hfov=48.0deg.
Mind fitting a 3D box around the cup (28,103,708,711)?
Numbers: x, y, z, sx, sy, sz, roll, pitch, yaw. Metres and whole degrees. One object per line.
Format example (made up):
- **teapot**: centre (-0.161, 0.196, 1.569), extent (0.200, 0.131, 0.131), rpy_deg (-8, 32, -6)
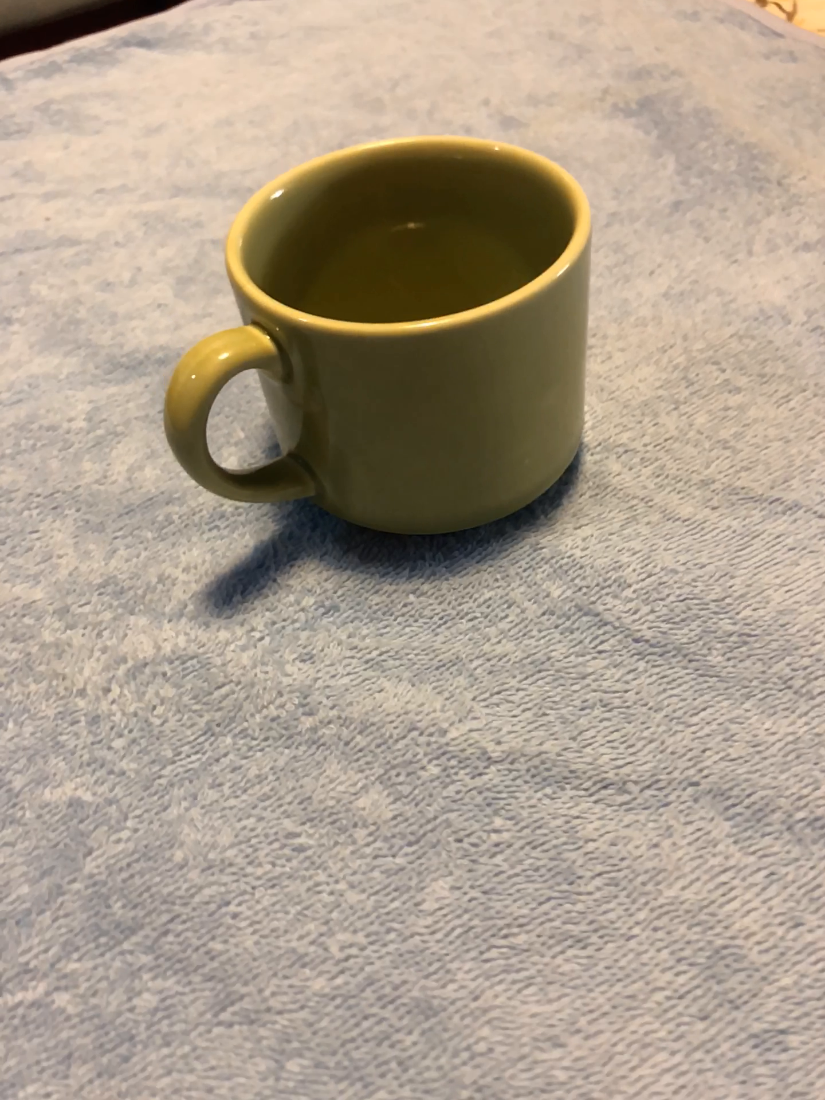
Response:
- **cup**: centre (-0.007, -0.041, 0.213), extent (0.110, 0.060, 0.090), rpy_deg (-39, 54, -23)
